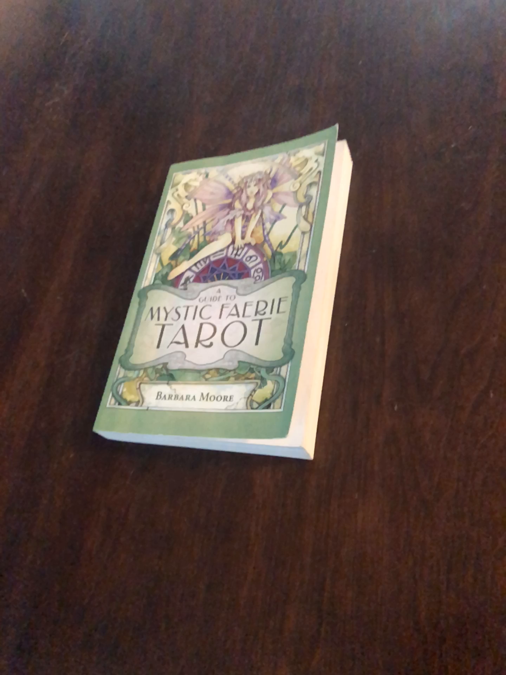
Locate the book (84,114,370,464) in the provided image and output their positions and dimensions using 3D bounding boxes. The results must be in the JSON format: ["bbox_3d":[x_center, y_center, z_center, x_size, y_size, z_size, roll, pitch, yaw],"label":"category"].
[{"bbox_3d":[-0.010,-0.035,0.347,0.140,0.032,0.208,-1,65,25],"label":"book"}]
